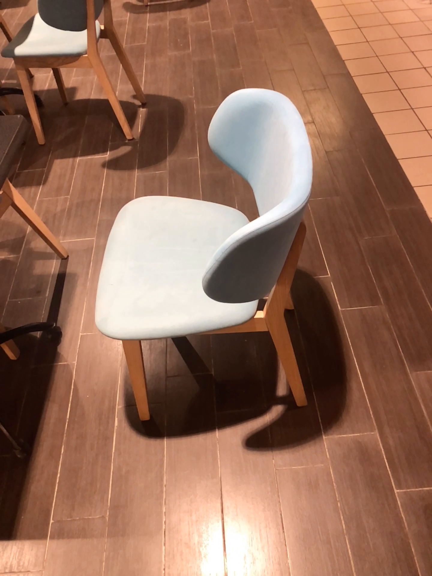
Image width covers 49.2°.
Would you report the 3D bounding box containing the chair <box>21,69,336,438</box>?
[{"bbox_3d":[-0.032,-0.025,1.222,0.510,0.817,0.482,-3,49,3],"label":"chair"}]
